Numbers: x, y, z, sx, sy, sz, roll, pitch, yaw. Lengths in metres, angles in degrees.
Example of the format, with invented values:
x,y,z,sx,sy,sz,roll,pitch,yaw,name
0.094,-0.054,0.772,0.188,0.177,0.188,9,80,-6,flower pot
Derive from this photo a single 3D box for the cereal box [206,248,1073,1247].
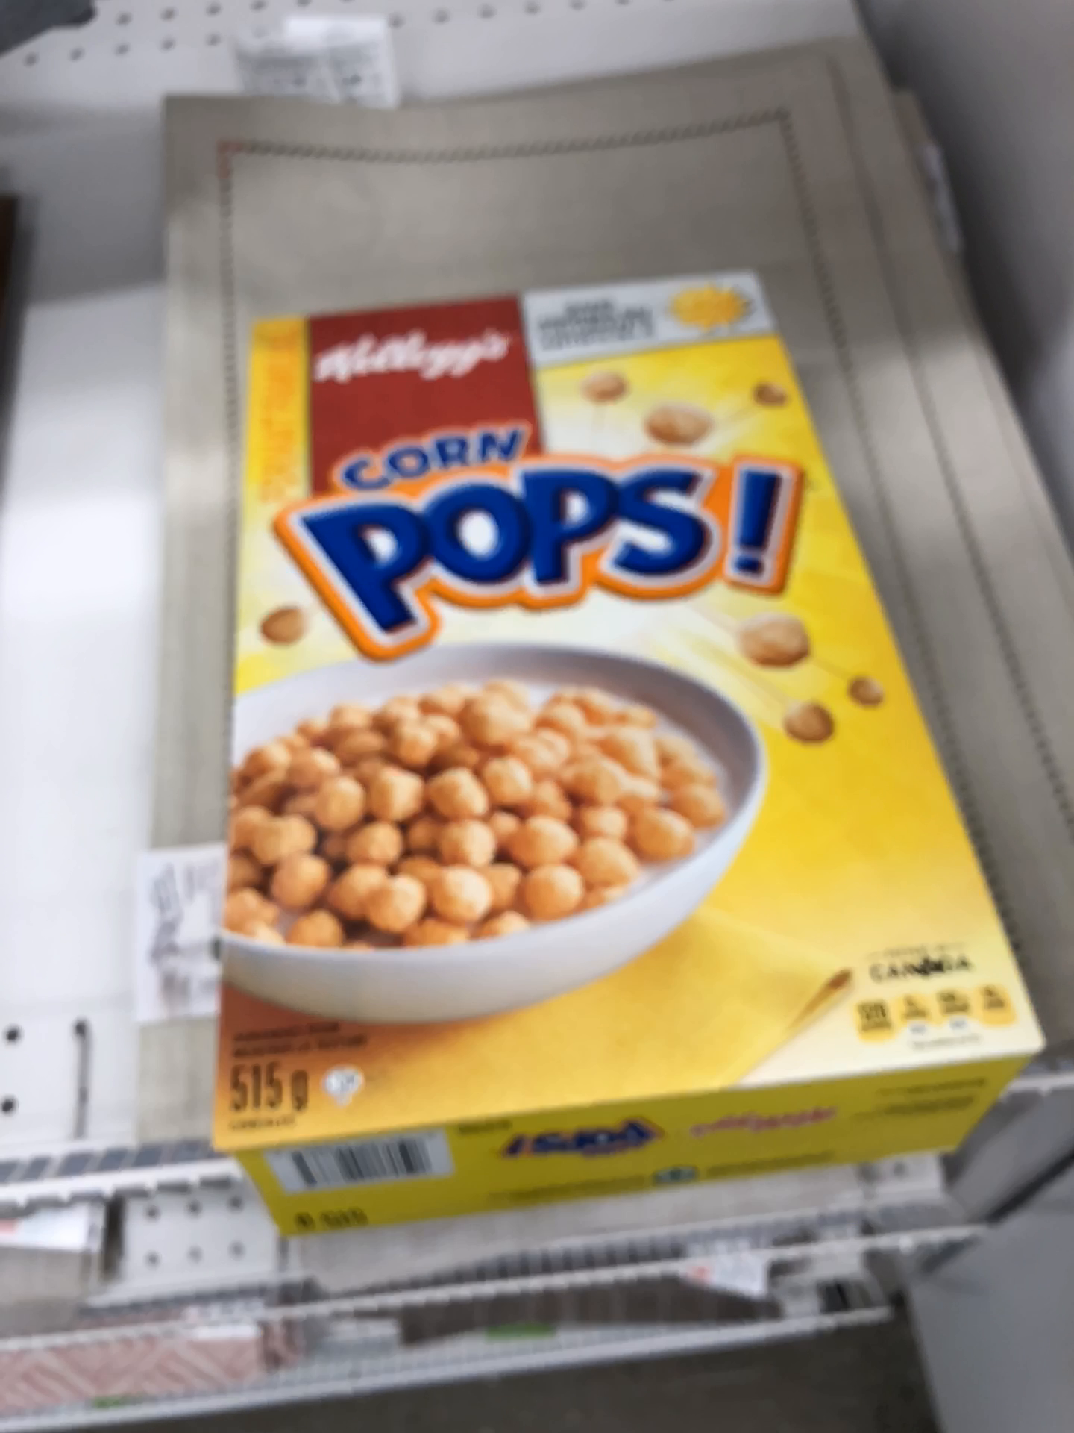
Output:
x,y,z,sx,sy,sz,roll,pitch,yaw,name
0.011,-0.022,0.420,0.220,0.080,0.341,-5,54,-6,cereal box
